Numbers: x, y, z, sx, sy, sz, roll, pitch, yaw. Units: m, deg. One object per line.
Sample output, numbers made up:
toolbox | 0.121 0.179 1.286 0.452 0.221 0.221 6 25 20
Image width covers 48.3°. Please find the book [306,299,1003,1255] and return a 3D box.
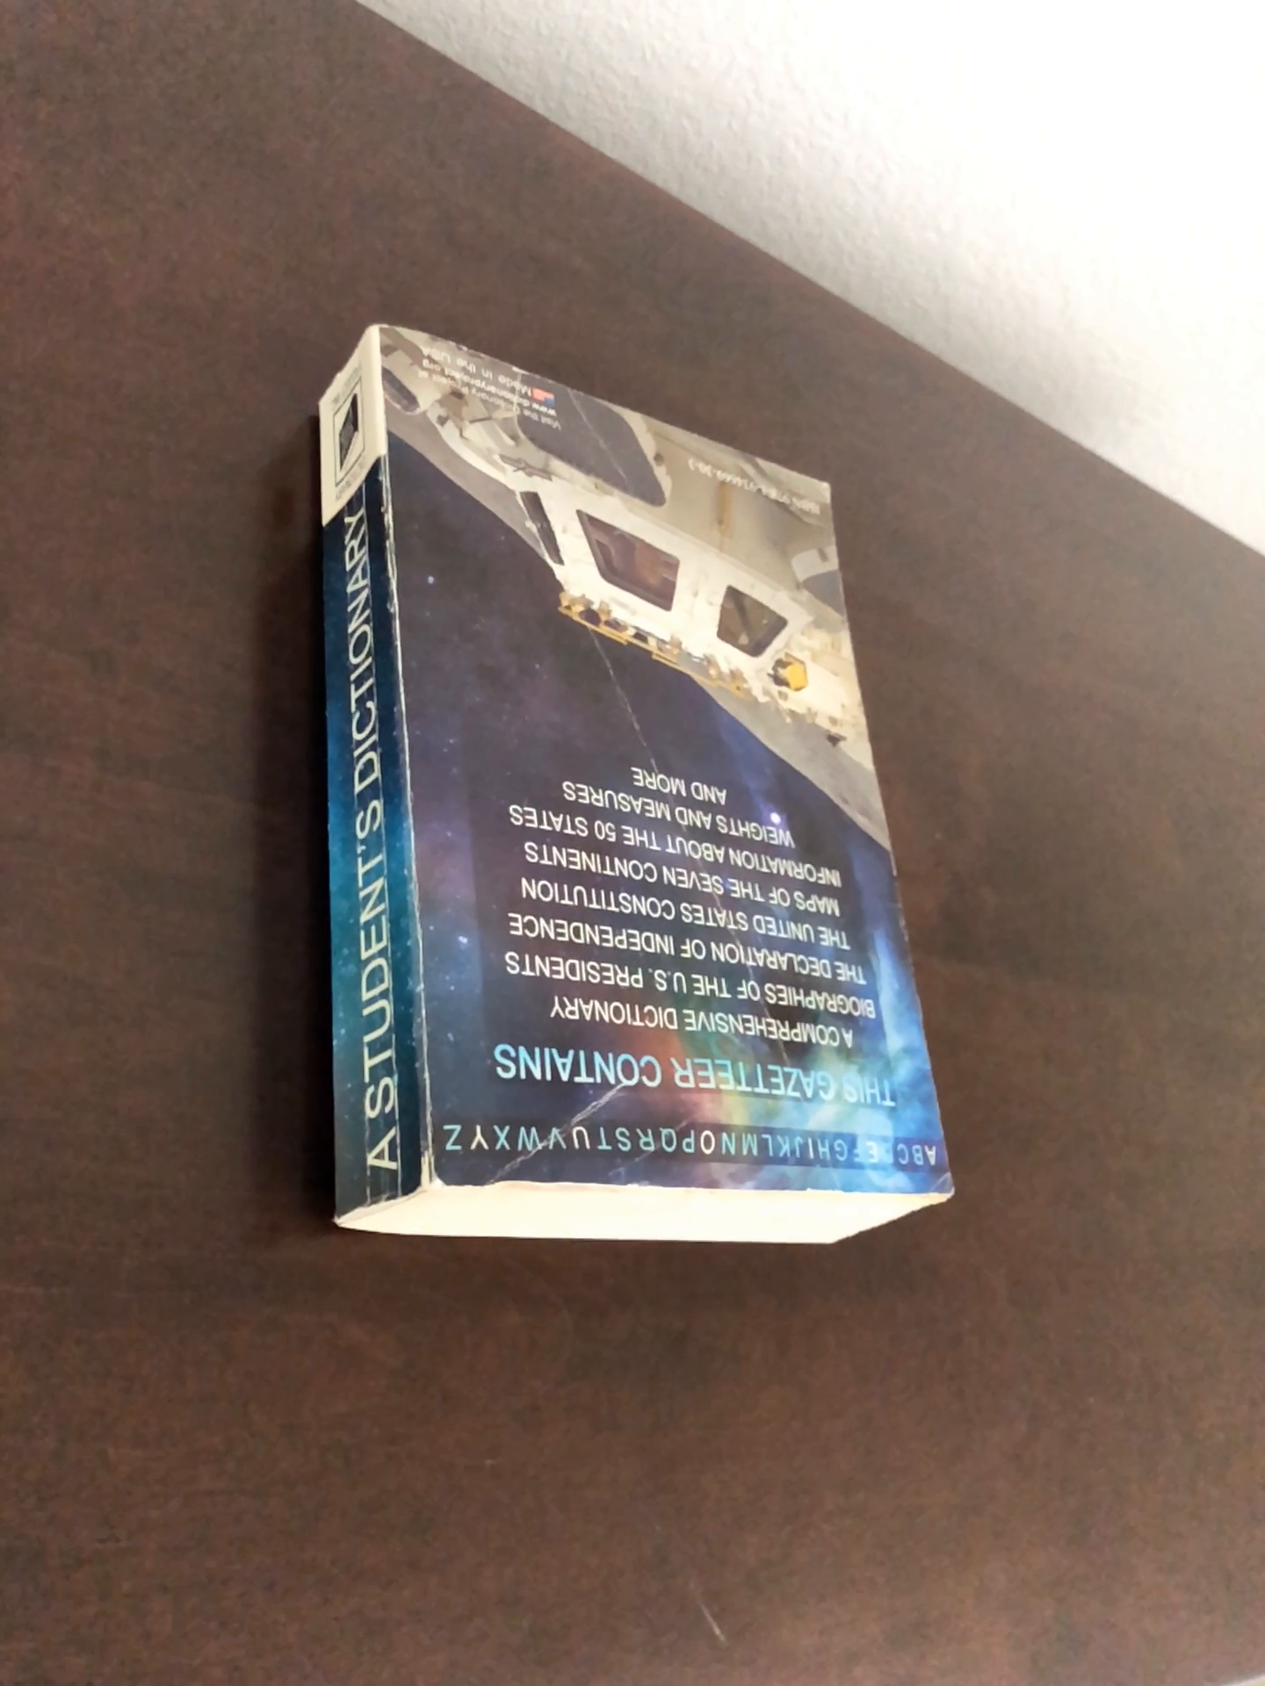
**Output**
book | 0.002 -0.011 0.319 0.141 0.040 0.196 10 62 -32
